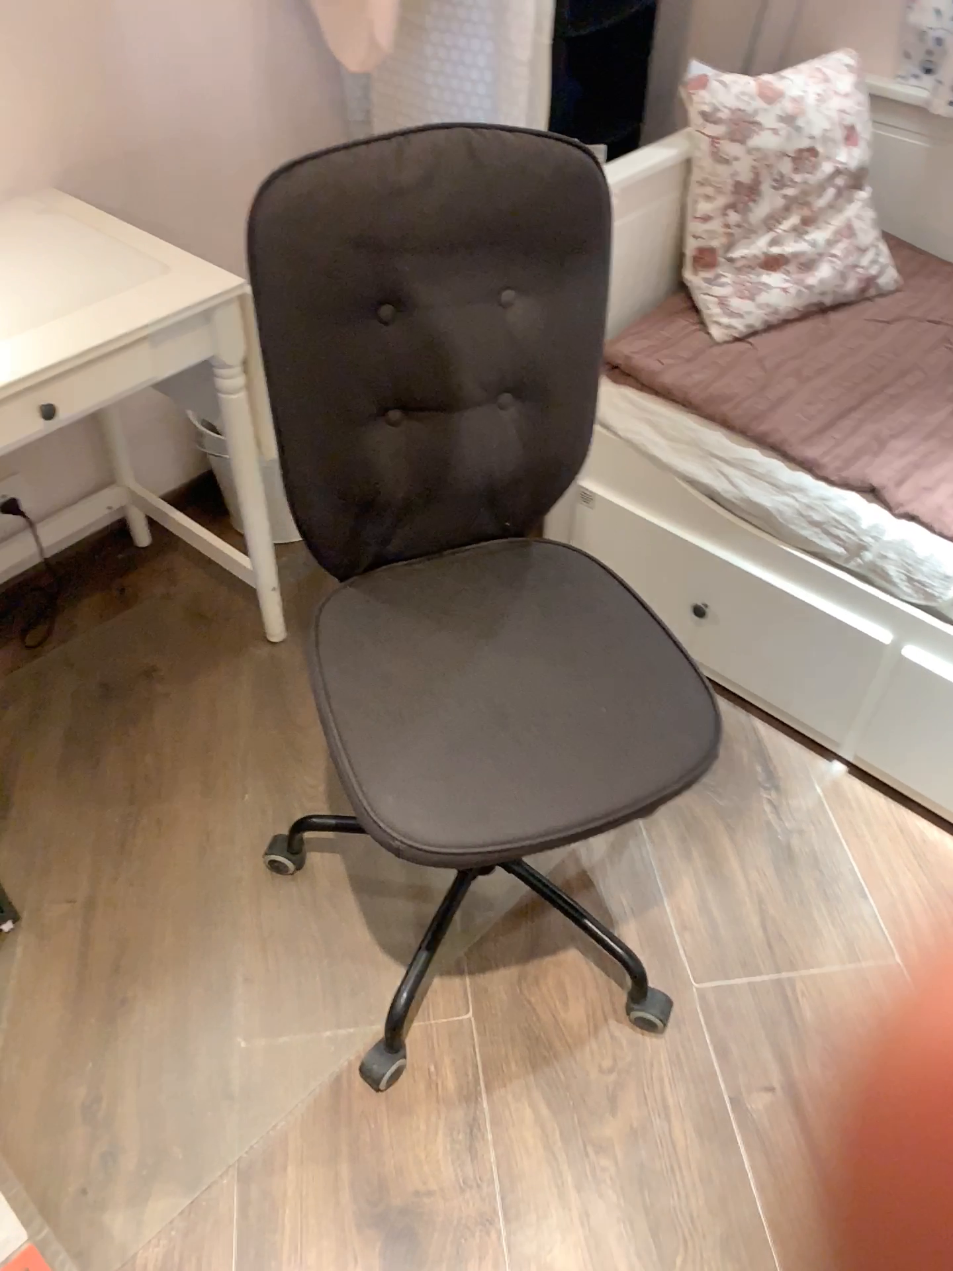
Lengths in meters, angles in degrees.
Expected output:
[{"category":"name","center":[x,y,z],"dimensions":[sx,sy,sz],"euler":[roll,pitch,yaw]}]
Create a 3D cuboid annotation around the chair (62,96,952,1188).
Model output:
[{"category":"chair","center":[0.024,0.012,1.178],"dimensions":[0.650,0.946,0.732],"euler":[-18,49,-19]}]
